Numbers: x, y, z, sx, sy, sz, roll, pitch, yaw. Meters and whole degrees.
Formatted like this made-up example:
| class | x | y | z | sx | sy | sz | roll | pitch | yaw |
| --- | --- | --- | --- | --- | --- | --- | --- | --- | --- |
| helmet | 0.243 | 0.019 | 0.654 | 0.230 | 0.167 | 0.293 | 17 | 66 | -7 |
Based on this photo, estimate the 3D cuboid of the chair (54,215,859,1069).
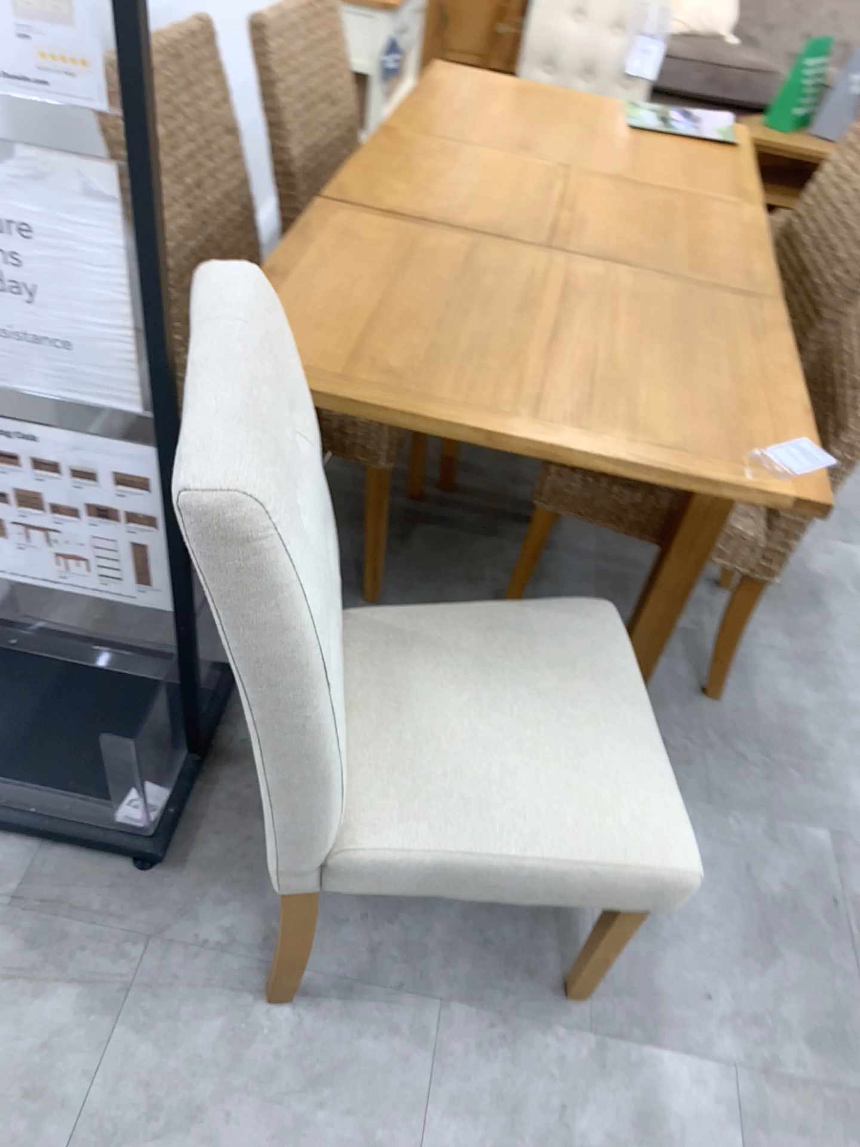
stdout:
| class | x | y | z | sx | sy | sz | roll | pitch | yaw |
| --- | --- | --- | --- | --- | --- | --- | --- | --- | --- |
| chair | 0.003 | 0.155 | 1.038 | 0.610 | 0.896 | 0.483 | 3 | 44 | -9 |
